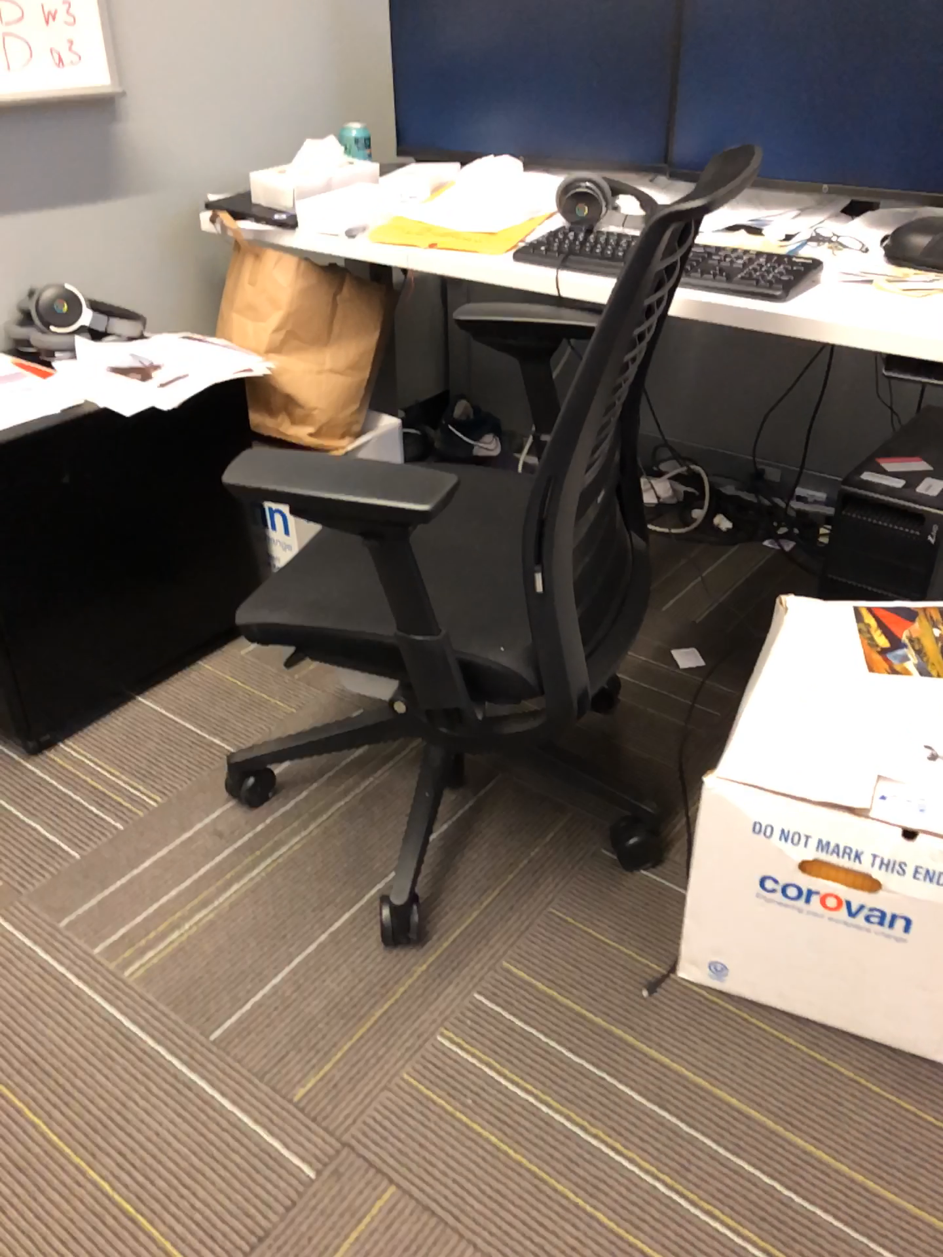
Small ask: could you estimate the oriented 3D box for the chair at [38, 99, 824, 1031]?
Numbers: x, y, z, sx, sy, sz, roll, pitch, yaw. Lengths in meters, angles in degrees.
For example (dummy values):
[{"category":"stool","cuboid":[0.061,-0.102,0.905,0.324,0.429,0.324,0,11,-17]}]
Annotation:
[{"category":"chair","cuboid":[0.039,-0.160,1.475,0.700,0.994,0.784,10,33,16]}]
